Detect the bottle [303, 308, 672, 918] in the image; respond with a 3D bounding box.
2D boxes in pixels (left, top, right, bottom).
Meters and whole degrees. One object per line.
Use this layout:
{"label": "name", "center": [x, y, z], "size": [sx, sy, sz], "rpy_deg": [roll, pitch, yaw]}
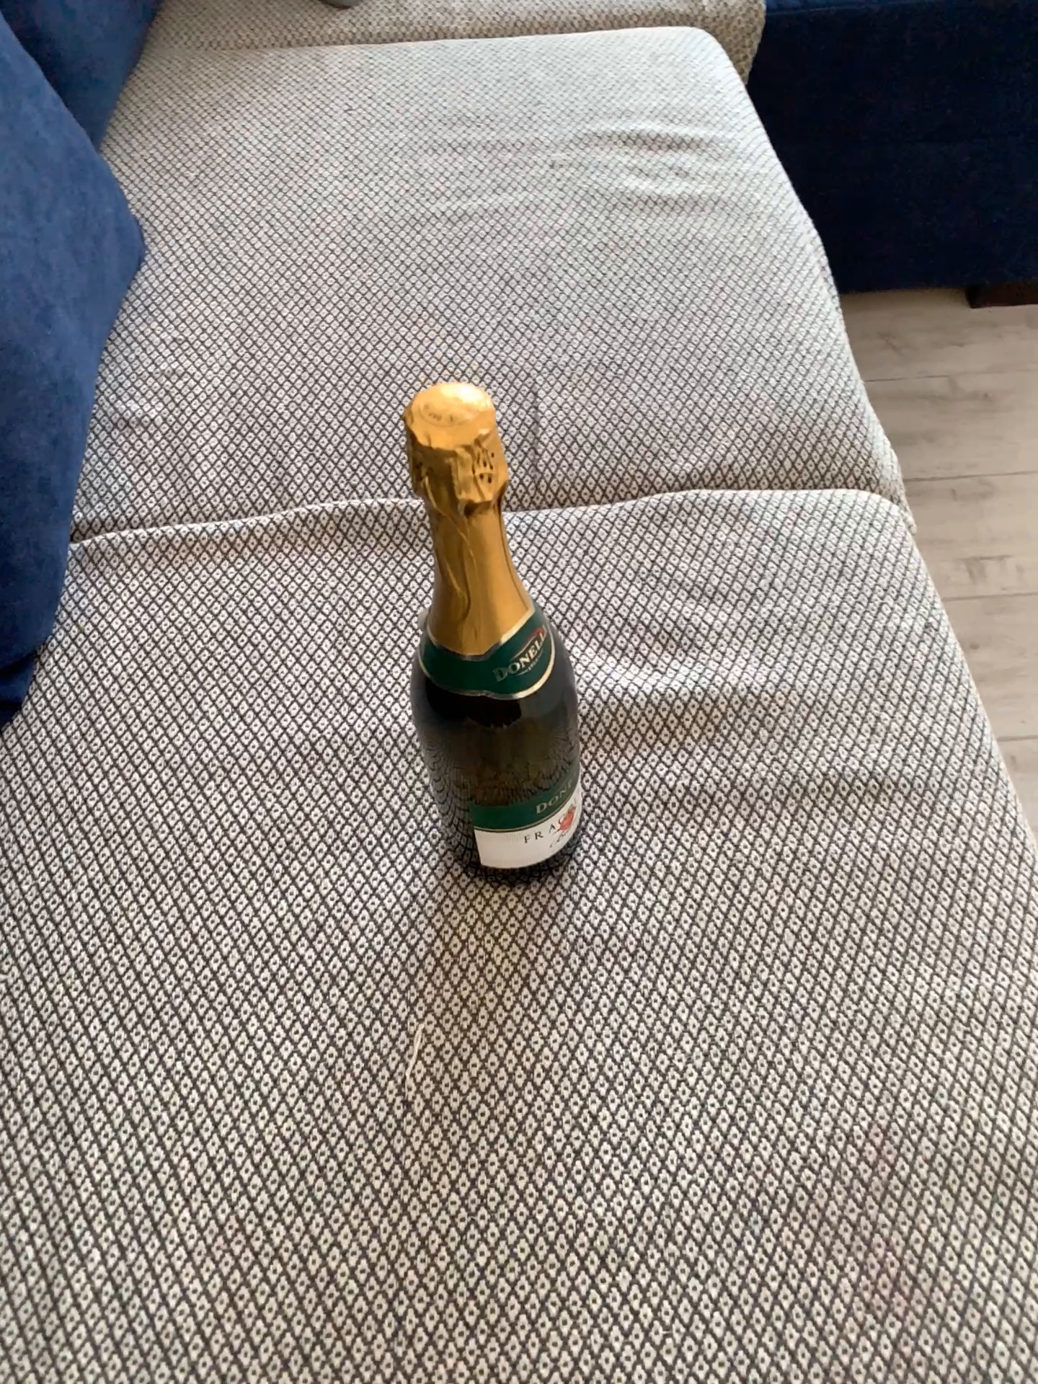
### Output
{"label": "bottle", "center": [-0.007, -0.012, 0.483], "size": [0.090, 0.289, 0.090], "rpy_deg": [-1, 56, 1]}
